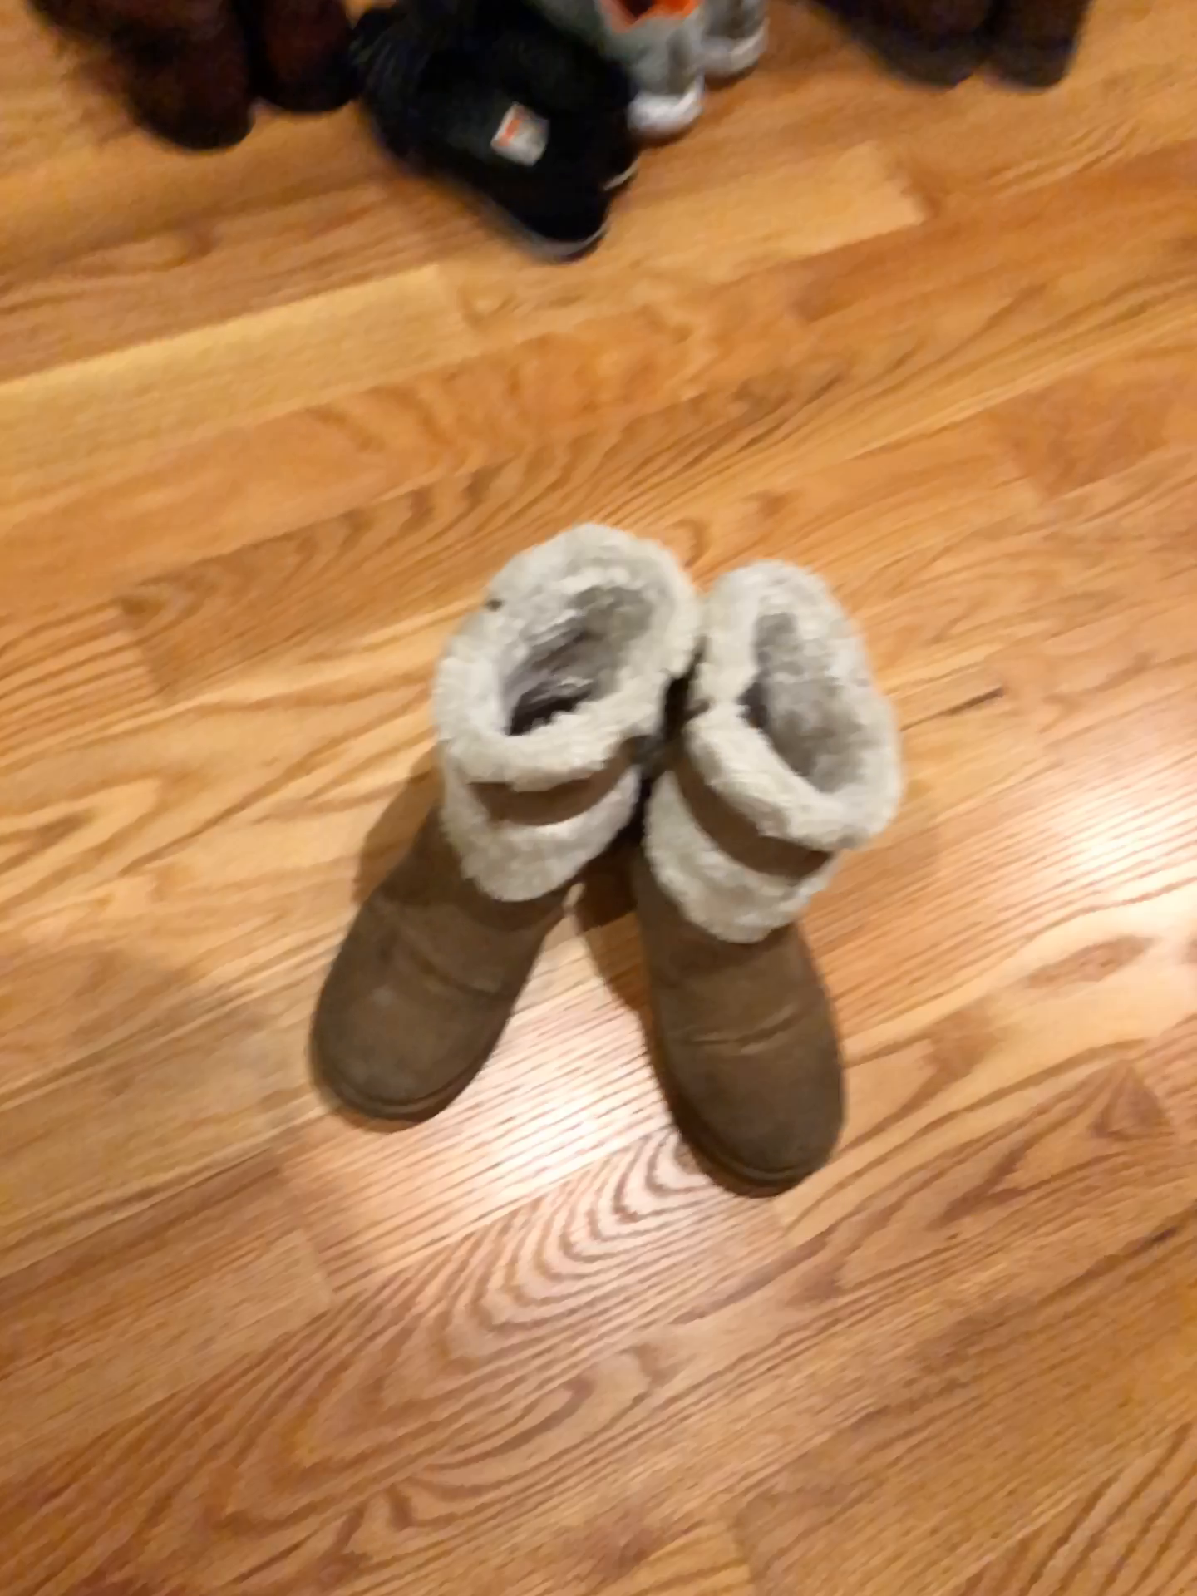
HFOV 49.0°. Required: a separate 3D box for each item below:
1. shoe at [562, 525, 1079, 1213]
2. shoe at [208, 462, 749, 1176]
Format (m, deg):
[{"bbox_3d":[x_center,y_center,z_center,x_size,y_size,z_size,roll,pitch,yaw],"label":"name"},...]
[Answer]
[{"bbox_3d":[0.081,0.041,0.617,0.113,0.194,0.254,-11,68,-14],"label":"shoe"},{"bbox_3d":[-0.051,0.018,0.602,0.106,0.194,0.255,27,65,3],"label":"shoe"}]
